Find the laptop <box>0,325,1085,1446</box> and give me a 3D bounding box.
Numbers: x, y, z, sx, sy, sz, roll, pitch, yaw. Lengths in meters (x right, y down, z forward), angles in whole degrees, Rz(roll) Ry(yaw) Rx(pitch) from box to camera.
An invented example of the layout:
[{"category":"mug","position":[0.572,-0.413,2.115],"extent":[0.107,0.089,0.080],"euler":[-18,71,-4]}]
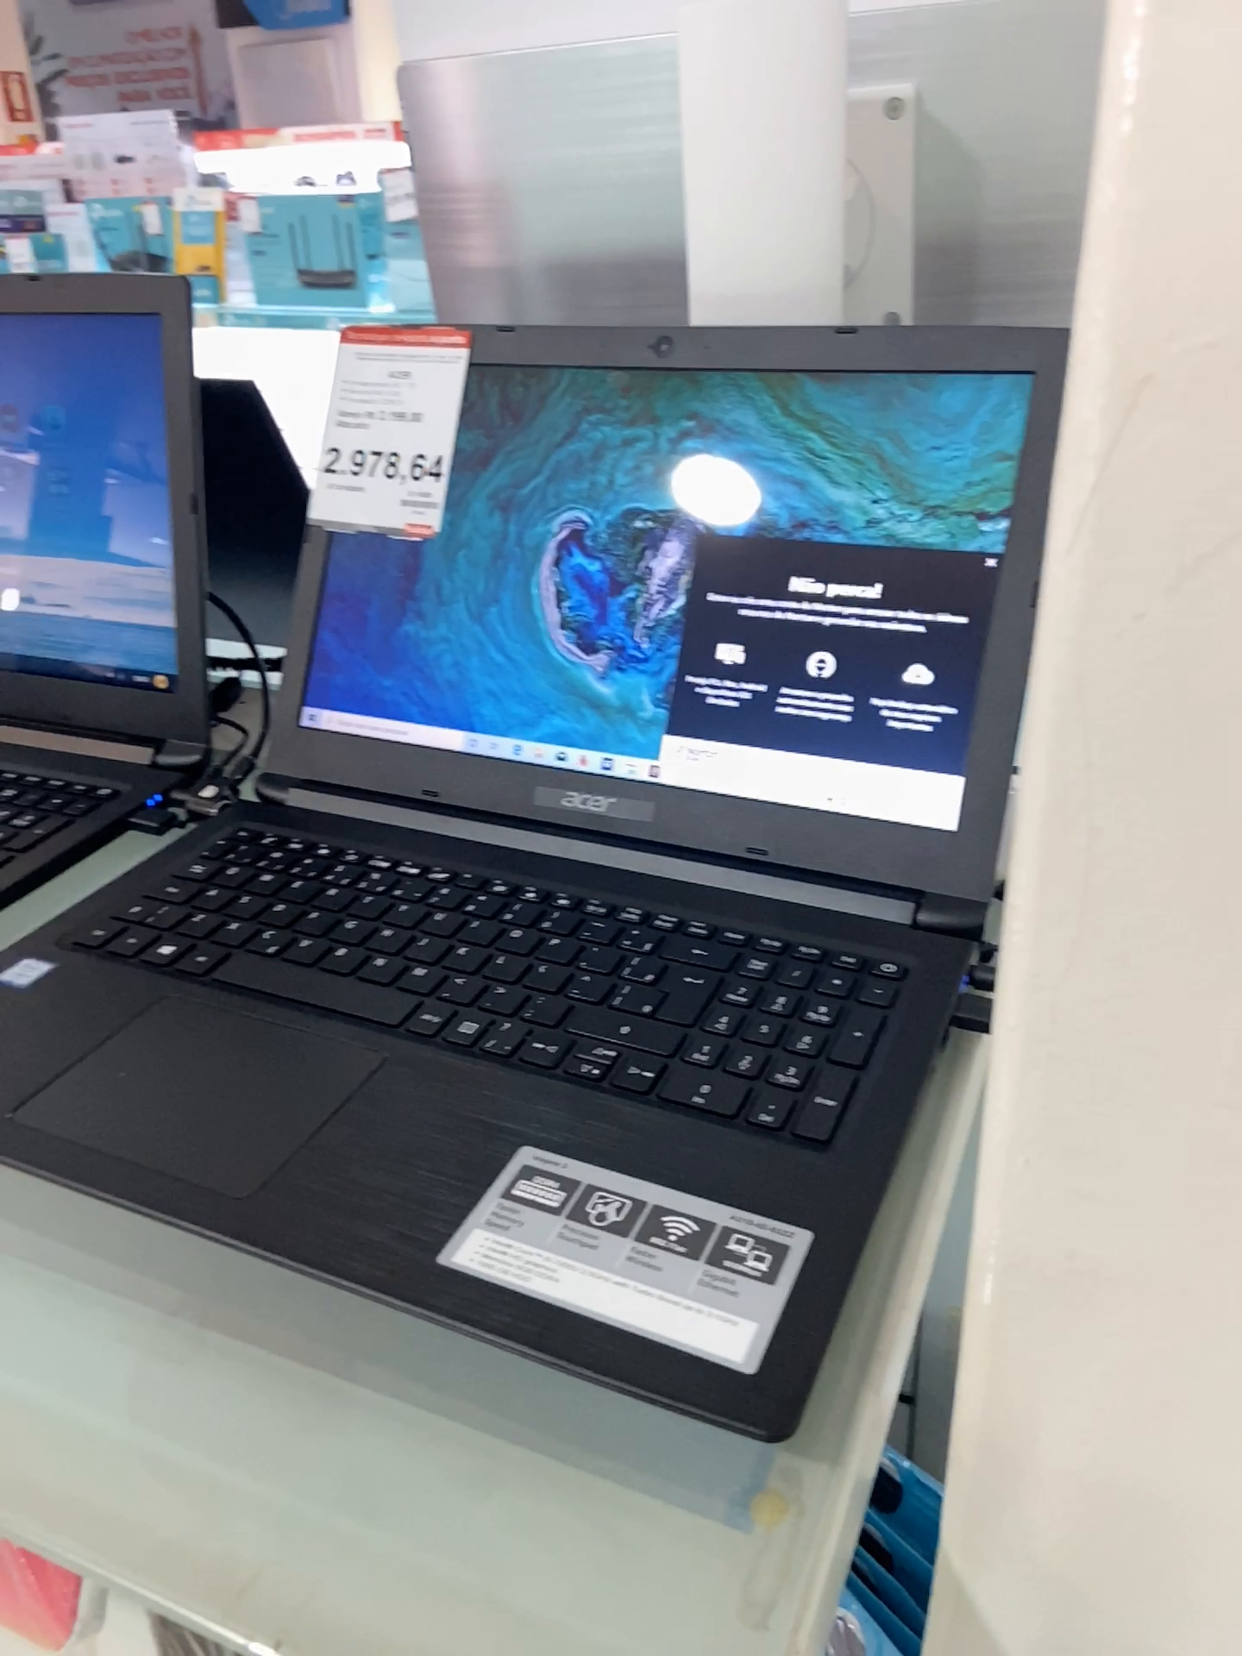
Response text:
[{"category":"laptop","position":[-0.052,-0.055,0.488],"extent":[0.369,0.205,0.377],"euler":[10,31,24]}]
